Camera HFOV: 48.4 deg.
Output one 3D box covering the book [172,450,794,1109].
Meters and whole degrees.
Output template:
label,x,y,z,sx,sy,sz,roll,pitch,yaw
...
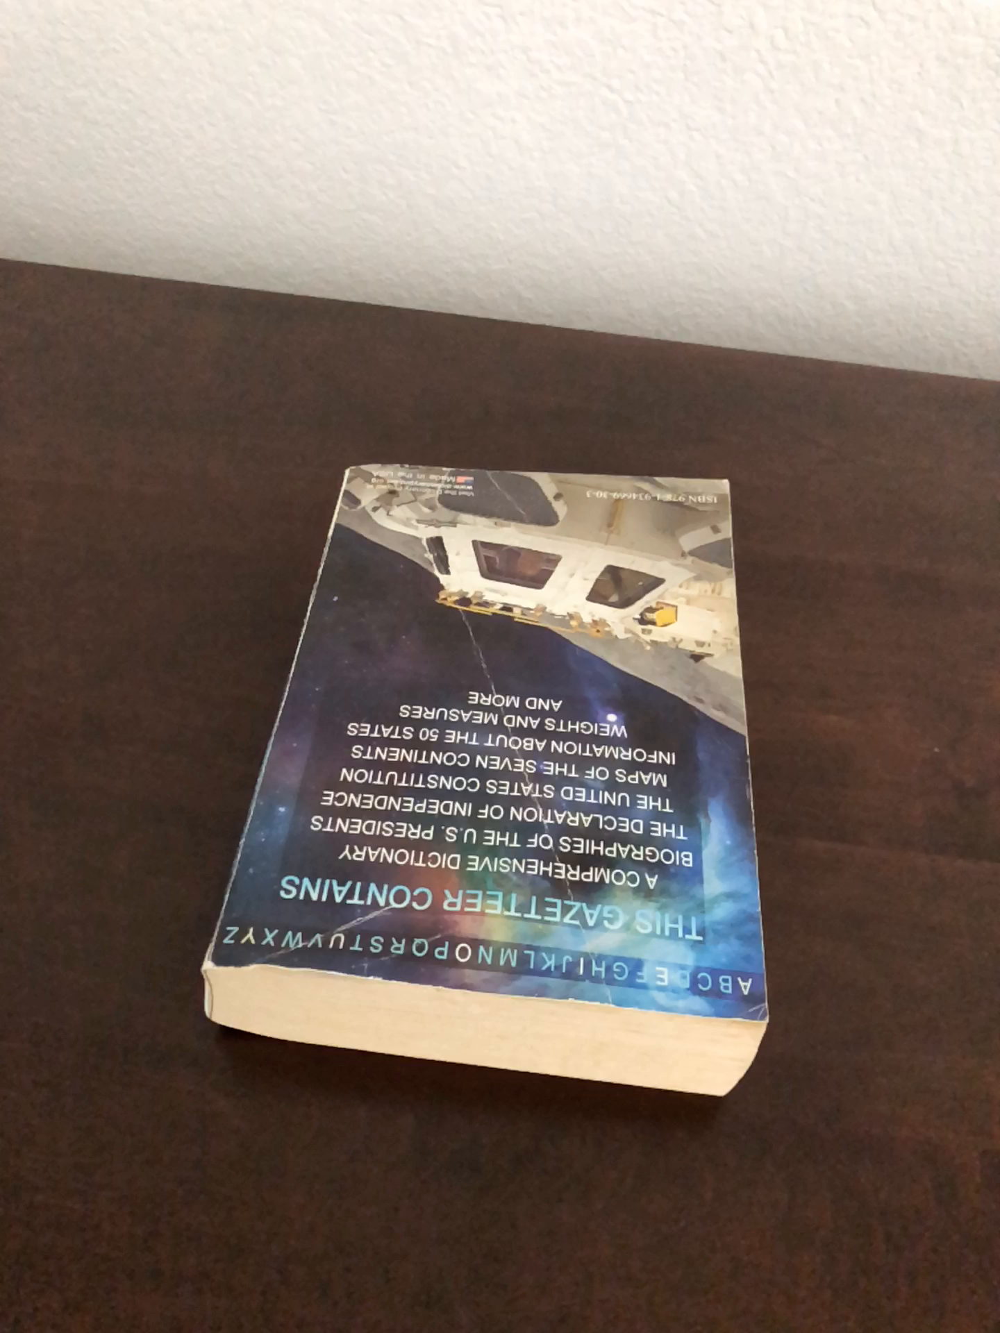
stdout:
label,x,y,z,sx,sy,sz,roll,pitch,yaw
book,0.006,0.017,0.327,0.140,0.040,0.197,4,49,6
